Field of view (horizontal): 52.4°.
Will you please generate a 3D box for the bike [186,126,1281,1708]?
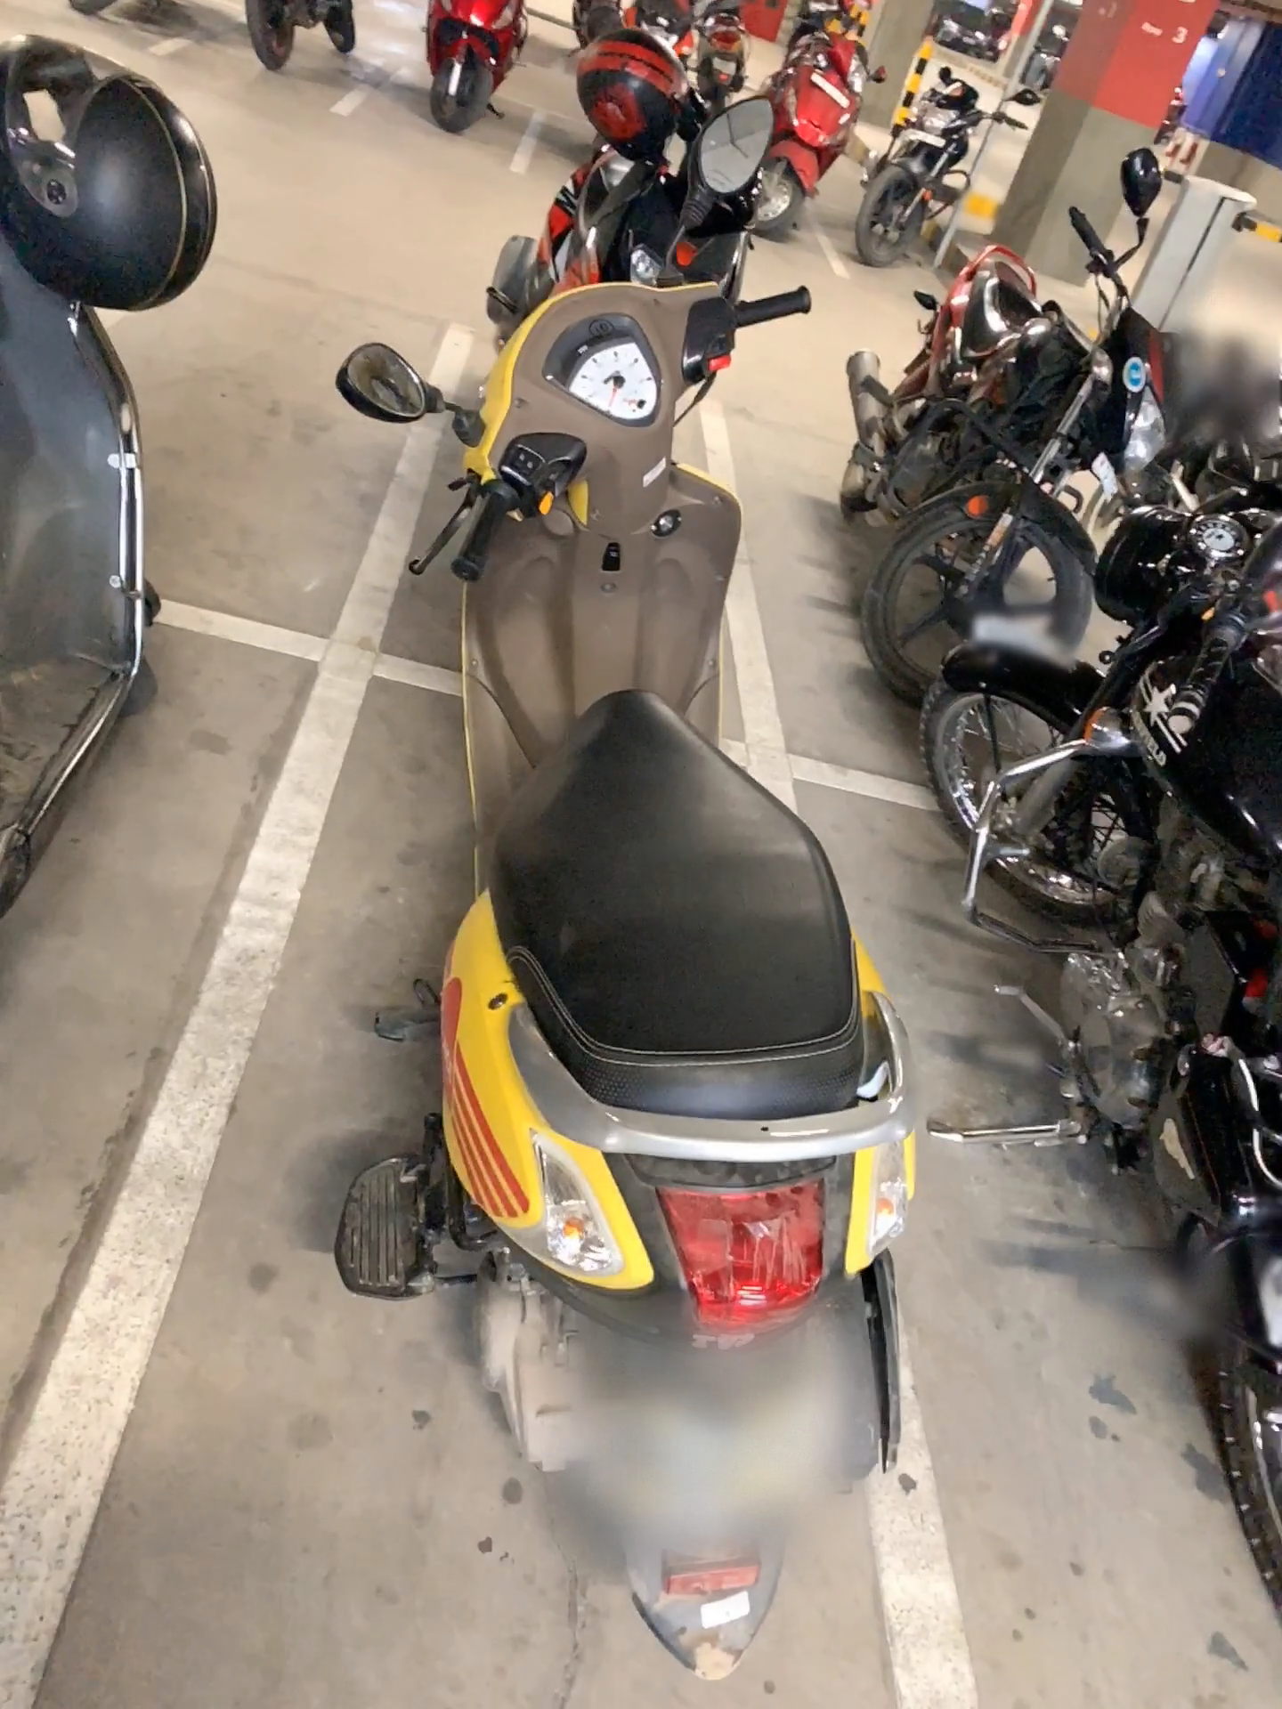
[{"bbox_3d":[-0.080,-0.126,1.628,0.566,1.048,1.713,9,35,-15],"label":"bike"}]
